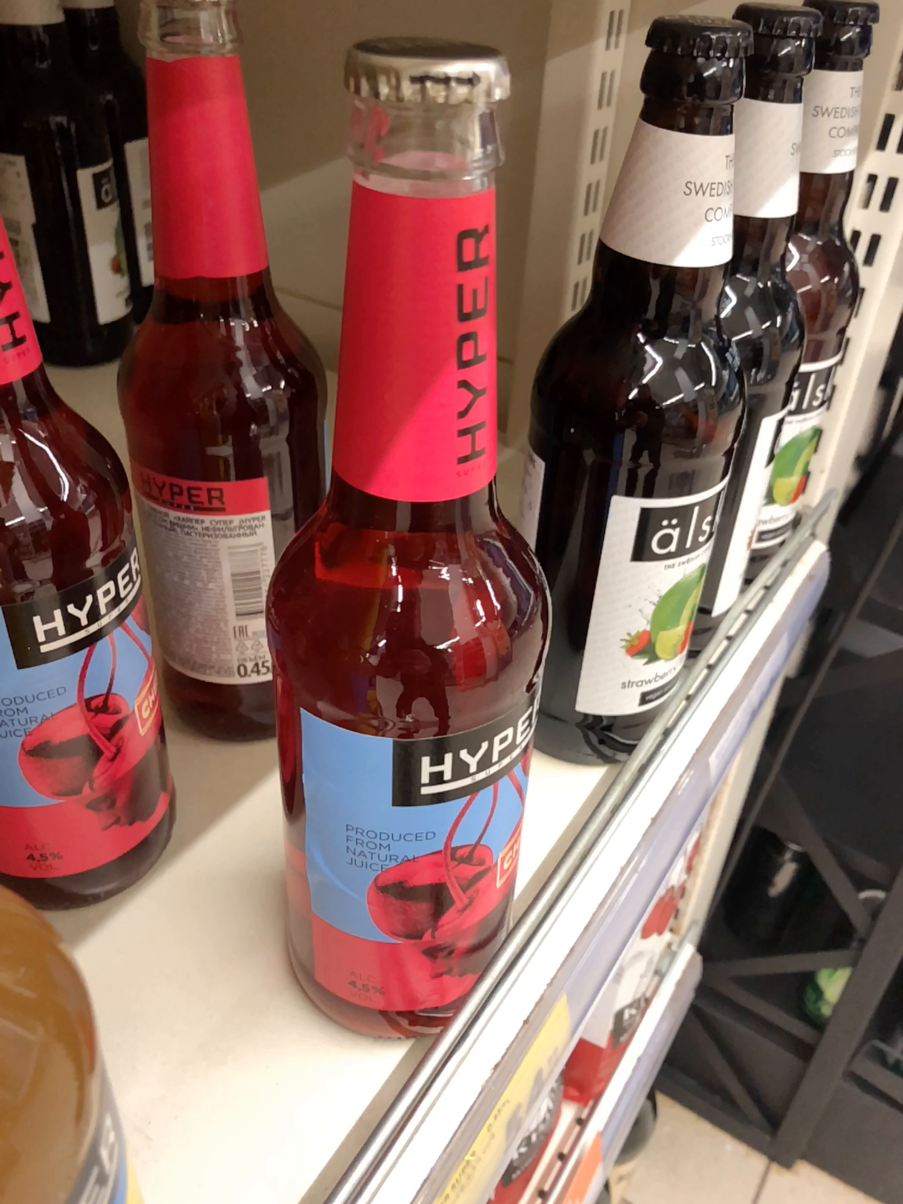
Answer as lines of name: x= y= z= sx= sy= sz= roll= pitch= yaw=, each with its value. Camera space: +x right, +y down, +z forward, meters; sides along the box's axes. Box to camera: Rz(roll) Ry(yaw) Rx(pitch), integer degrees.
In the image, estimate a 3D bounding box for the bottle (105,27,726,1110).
bottle: x=-0.011 y=0.007 z=0.242 sx=0.070 sy=0.243 sz=0.080 roll=30 pitch=44 yaw=32
